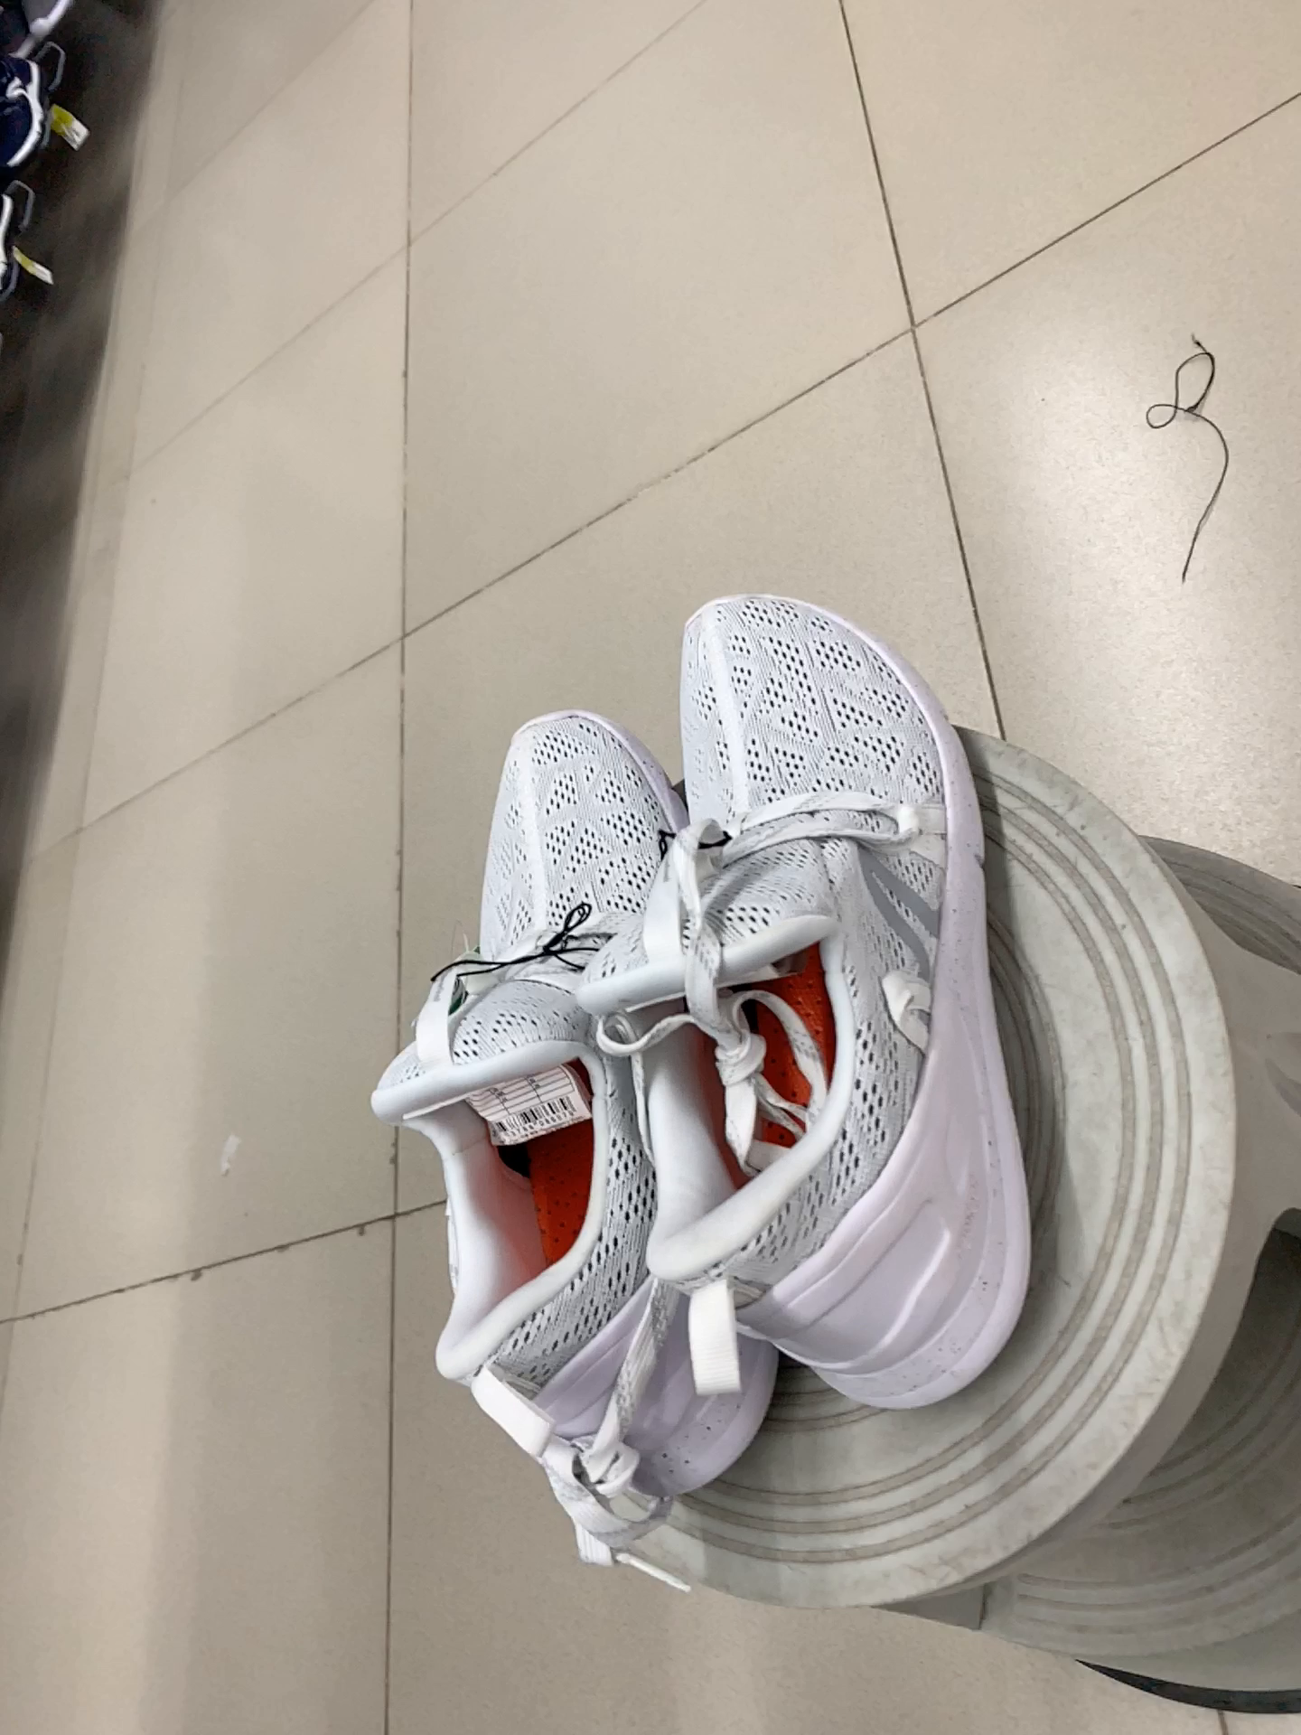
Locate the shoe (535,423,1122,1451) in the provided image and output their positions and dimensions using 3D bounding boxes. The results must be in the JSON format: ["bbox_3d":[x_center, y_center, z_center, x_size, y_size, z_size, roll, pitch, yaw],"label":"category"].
[{"bbox_3d":[0.040,0.018,0.404,0.110,0.080,0.280,-24,58,31],"label":"shoe"}]

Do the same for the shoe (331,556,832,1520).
[{"bbox_3d":[-0.032,0.053,0.440,0.110,0.090,0.280,-24,58,31],"label":"shoe"}]
